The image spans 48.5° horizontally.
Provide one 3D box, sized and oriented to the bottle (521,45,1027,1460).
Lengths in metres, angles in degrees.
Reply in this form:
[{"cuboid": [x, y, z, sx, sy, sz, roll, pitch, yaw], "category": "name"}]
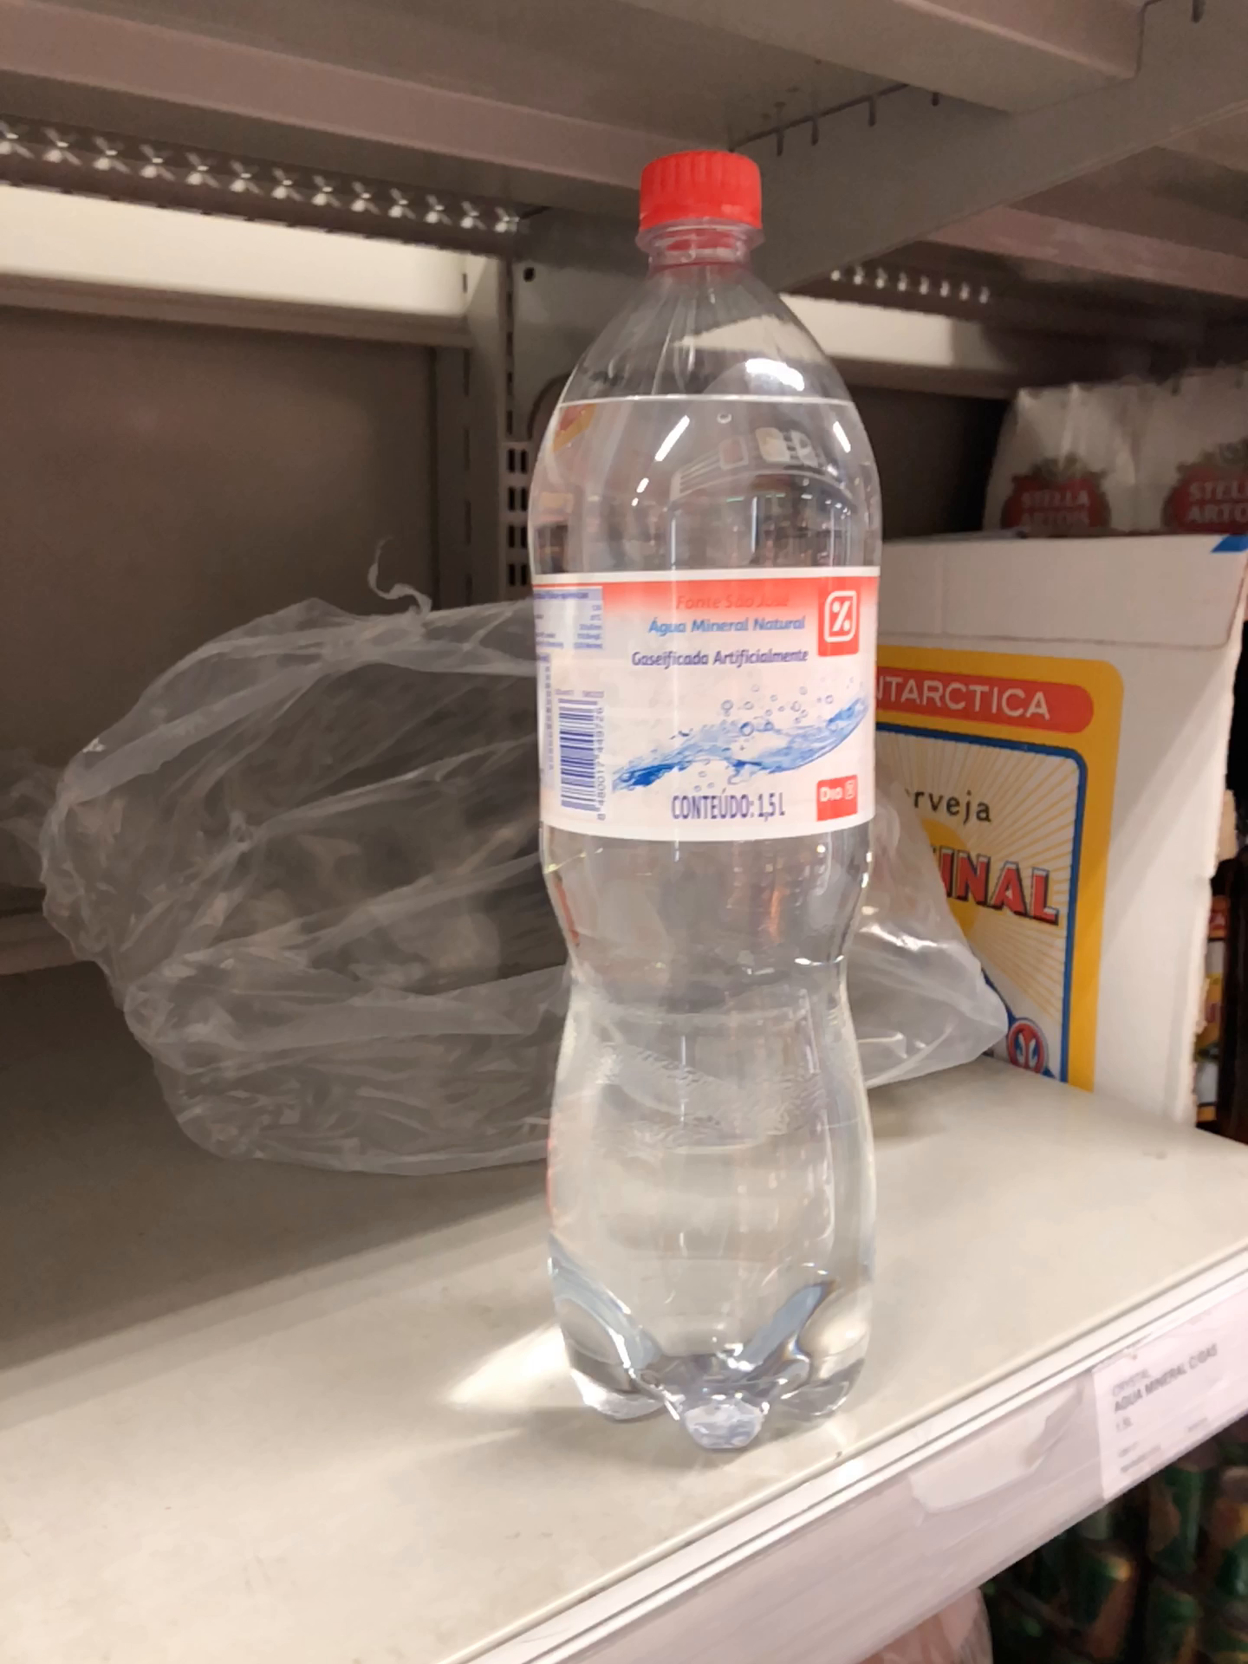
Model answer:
[{"cuboid": [0.028, -0.014, 0.364, 0.100, 0.319, 0.100, 0, 12, 0], "category": "bottle"}]
